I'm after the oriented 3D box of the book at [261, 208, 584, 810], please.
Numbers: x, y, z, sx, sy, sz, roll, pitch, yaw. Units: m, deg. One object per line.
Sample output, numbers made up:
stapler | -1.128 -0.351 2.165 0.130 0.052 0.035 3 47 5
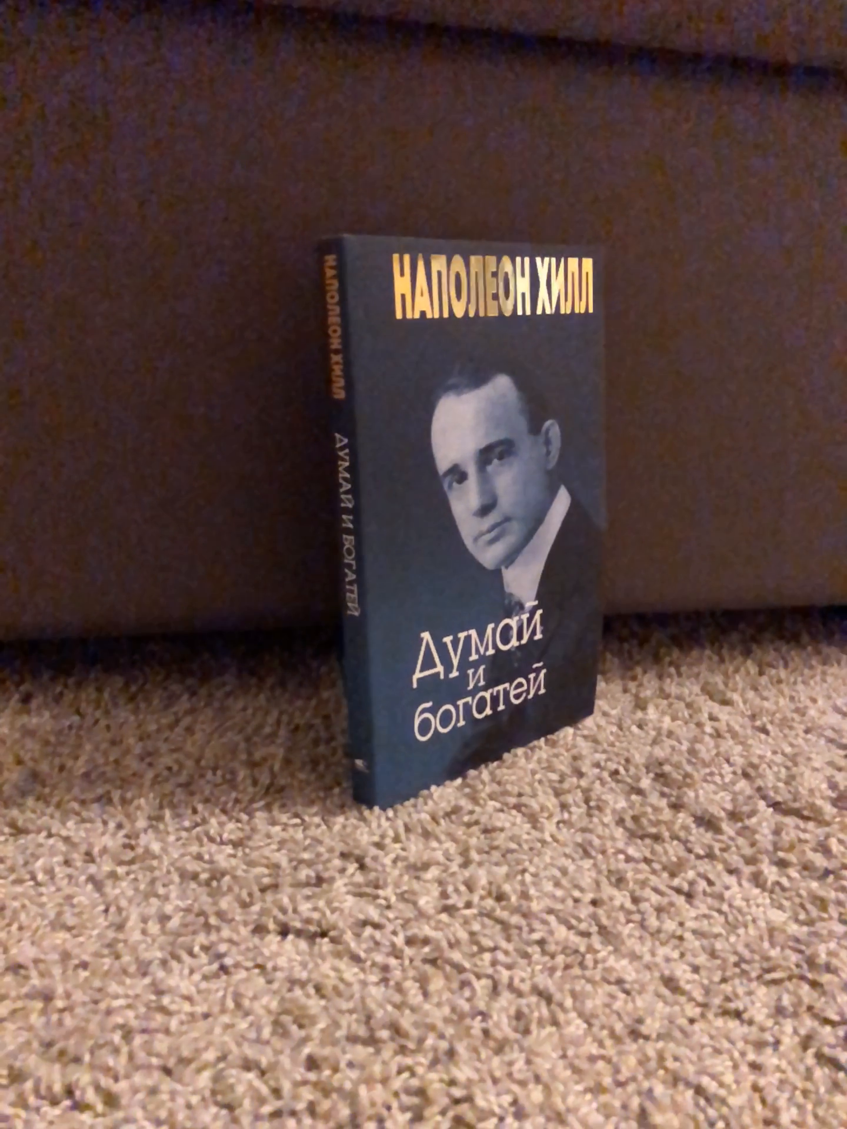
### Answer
book | 0.007 -0.025 0.360 0.132 0.198 0.030 -12 16 -41
